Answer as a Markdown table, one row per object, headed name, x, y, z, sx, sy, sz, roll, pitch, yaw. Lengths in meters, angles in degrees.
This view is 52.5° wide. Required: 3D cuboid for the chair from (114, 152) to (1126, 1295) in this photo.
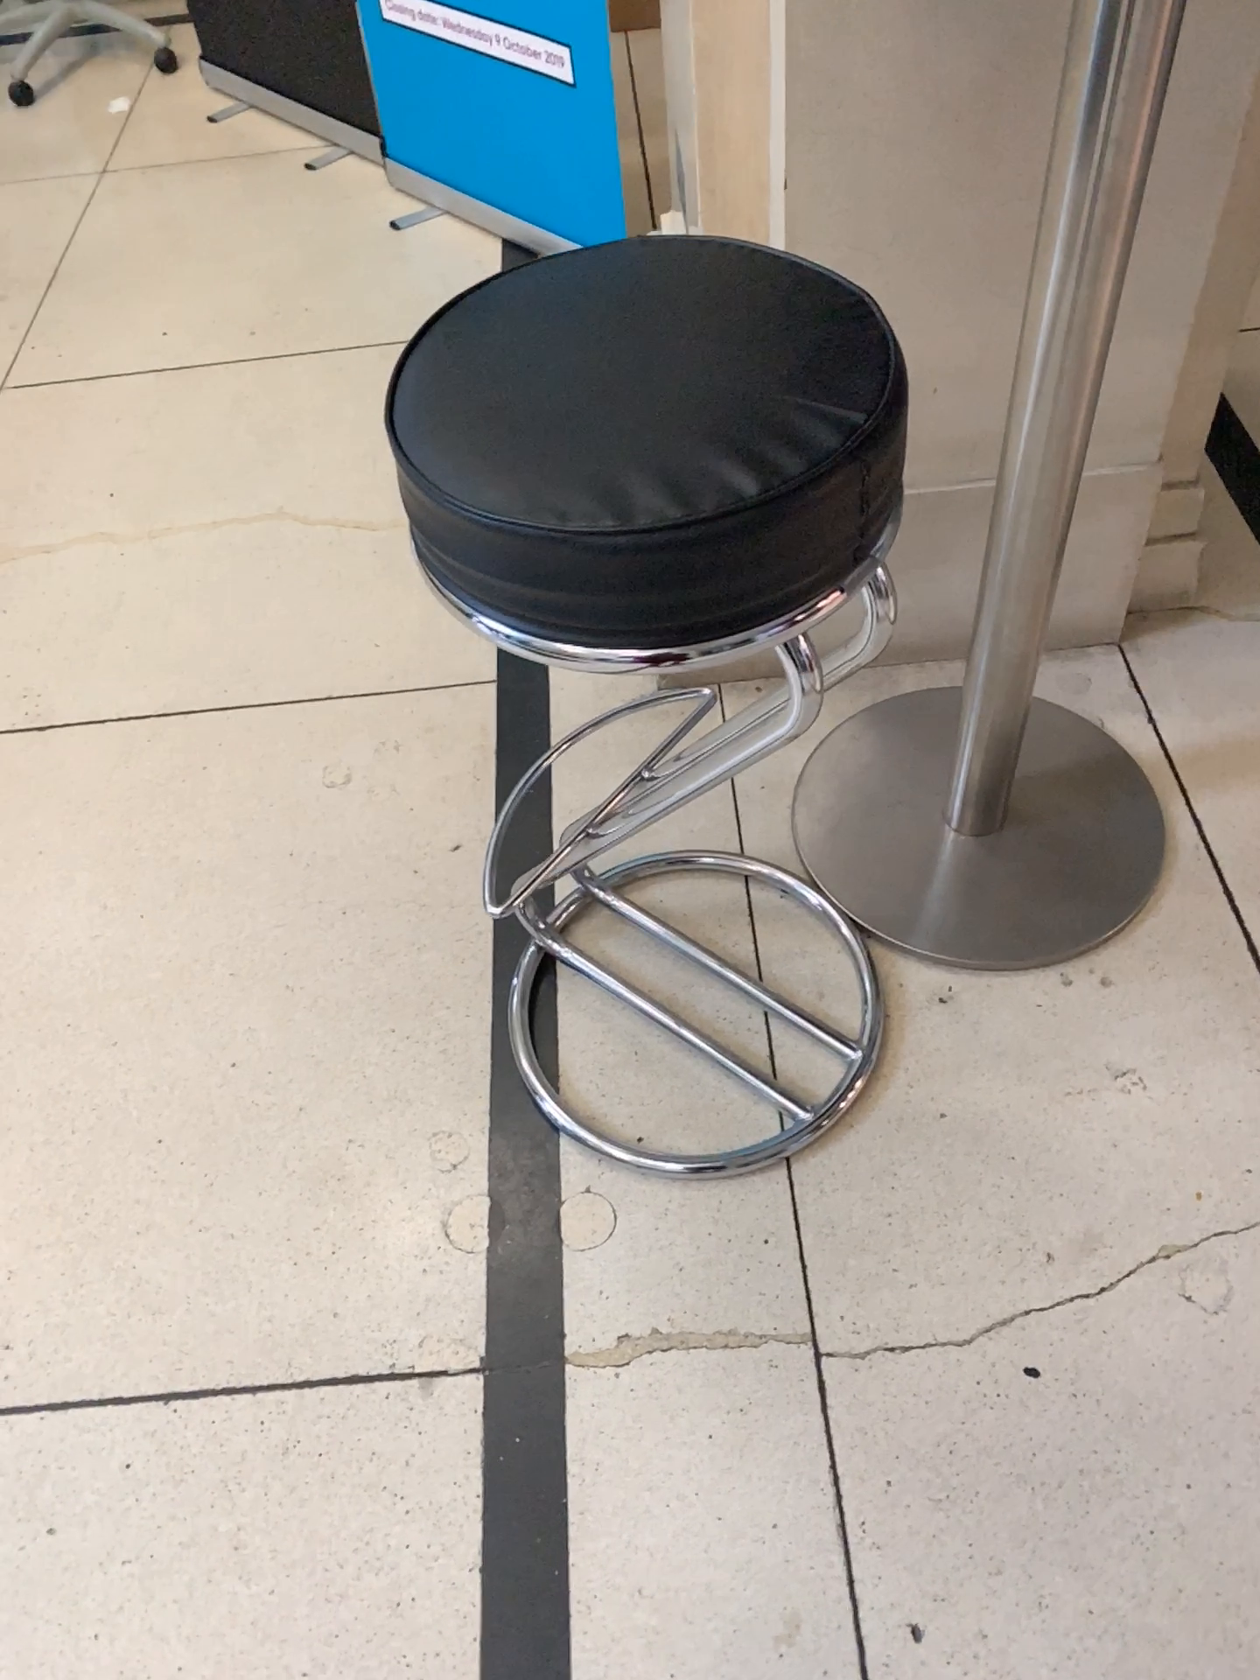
| name | x | y | z | sx | sy | sz | roll | pitch | yaw |
| --- | --- | --- | --- | --- | --- | --- | --- | --- | --- |
| chair | 0.034 | -0.065 | 1.166 | 0.505 | 0.813 | 0.466 | 26 | 58 | 26 |
